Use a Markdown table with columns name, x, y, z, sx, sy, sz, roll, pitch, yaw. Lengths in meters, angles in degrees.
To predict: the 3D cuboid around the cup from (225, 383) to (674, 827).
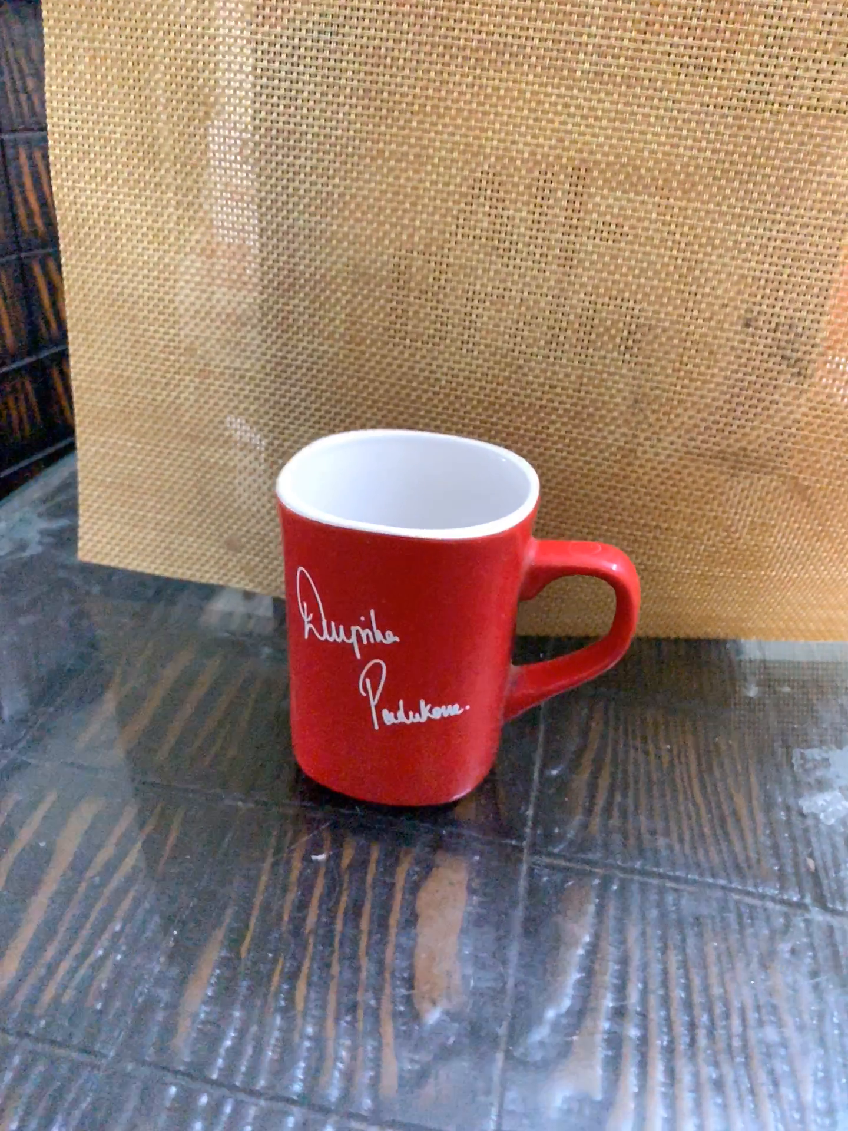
| name | x | y | z | sx | sy | sz | roll | pitch | yaw |
| --- | --- | --- | --- | --- | --- | --- | --- | --- | --- |
| cup | 0.007 | 0.007 | 0.238 | 0.095 | 0.085 | 0.070 | 6 | 28 | 6 |
